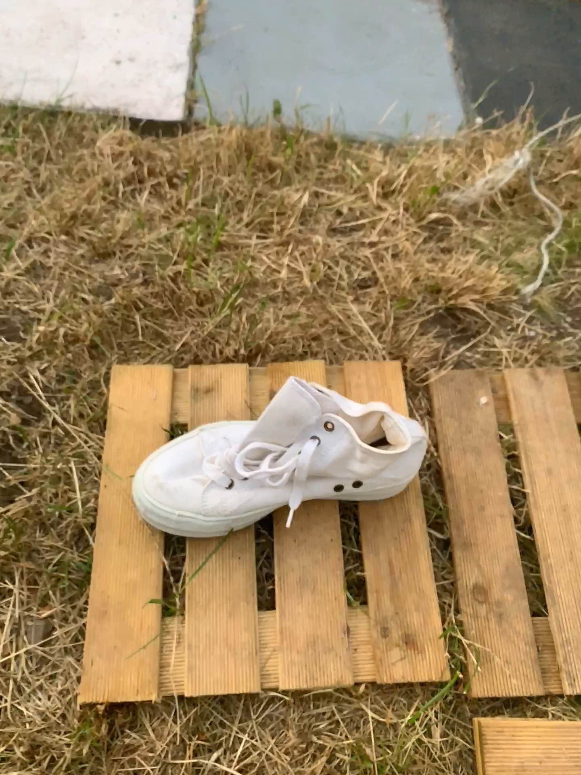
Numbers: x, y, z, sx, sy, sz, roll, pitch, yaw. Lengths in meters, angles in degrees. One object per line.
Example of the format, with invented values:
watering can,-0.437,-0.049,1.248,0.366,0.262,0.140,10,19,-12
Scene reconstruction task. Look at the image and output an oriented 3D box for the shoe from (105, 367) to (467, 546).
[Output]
shoe,-0.008,0.066,0.508,0.260,0.129,0.101,3,63,-8
